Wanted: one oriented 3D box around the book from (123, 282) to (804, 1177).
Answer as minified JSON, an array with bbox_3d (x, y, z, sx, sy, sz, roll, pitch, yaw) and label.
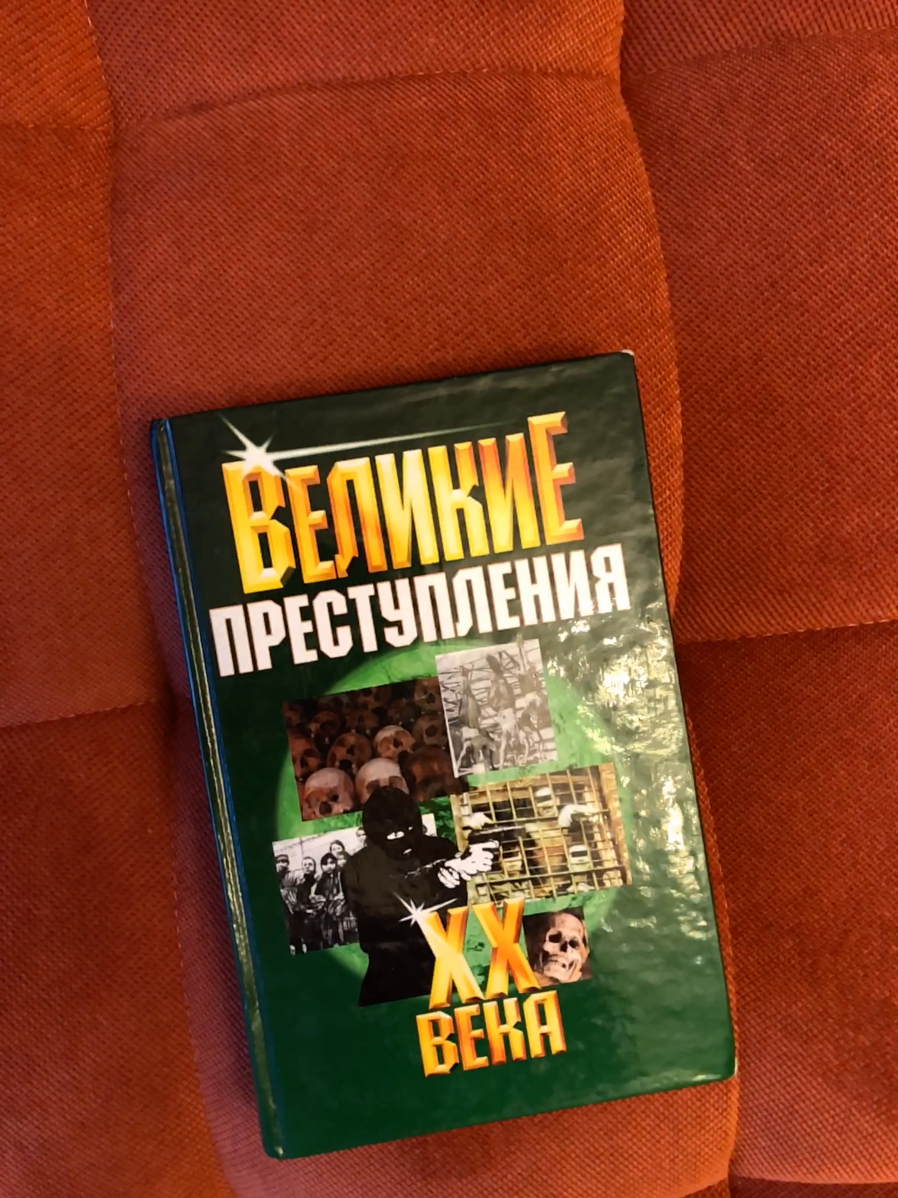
[{"bbox_3d":[0.005,0.036,0.296,0.160,0.040,0.230,-8,92,-1],"label":"book"}]
